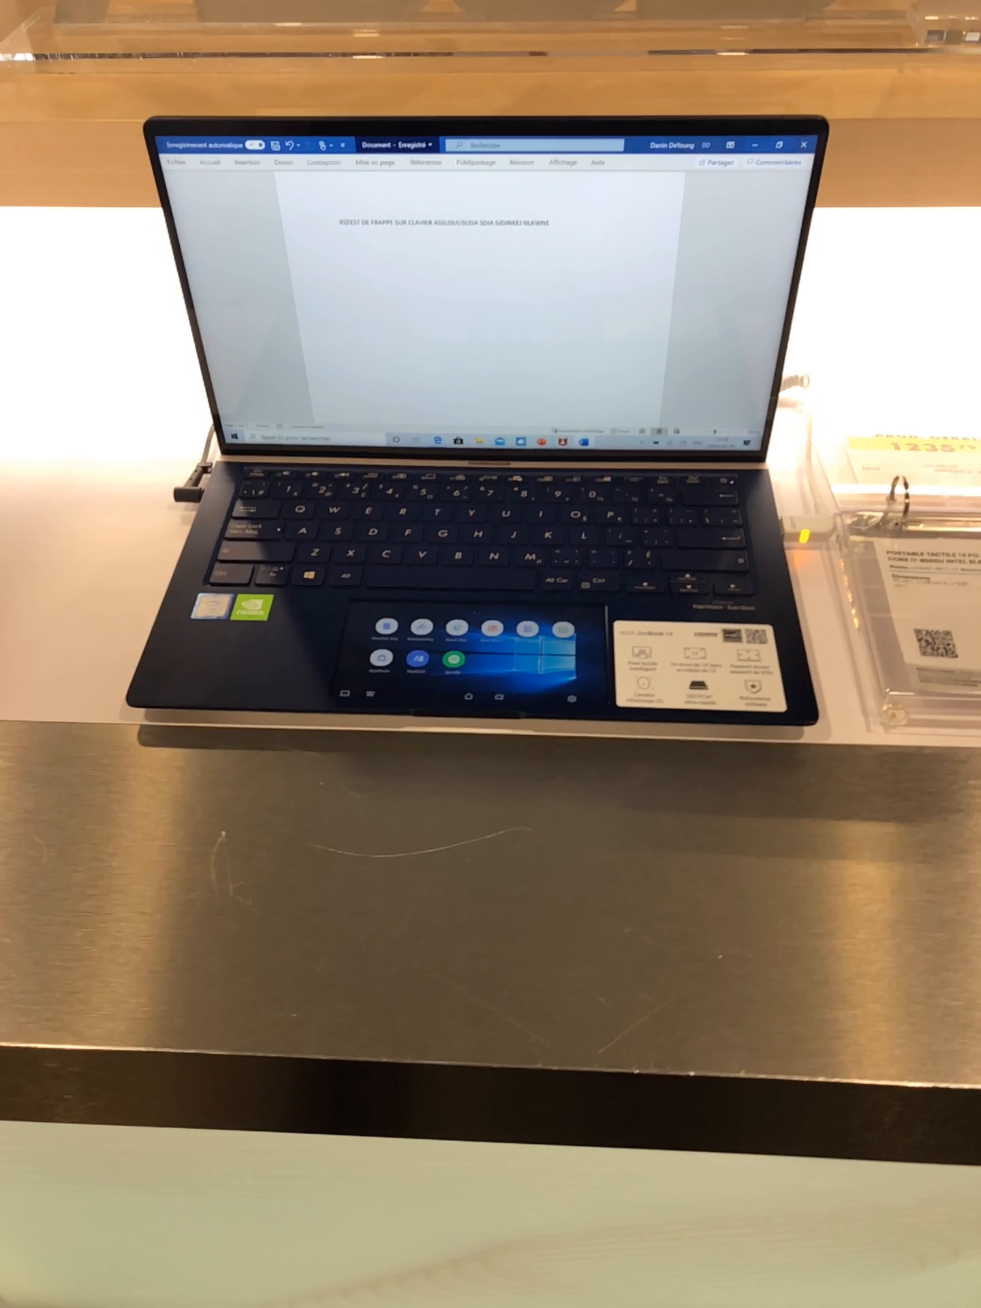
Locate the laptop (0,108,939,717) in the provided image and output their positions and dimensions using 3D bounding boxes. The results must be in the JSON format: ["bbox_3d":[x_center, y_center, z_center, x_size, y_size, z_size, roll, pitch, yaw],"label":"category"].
[{"bbox_3d":[-0.008,-0.111,0.493,0.317,0.193,0.200,1,46,3],"label":"laptop"}]
